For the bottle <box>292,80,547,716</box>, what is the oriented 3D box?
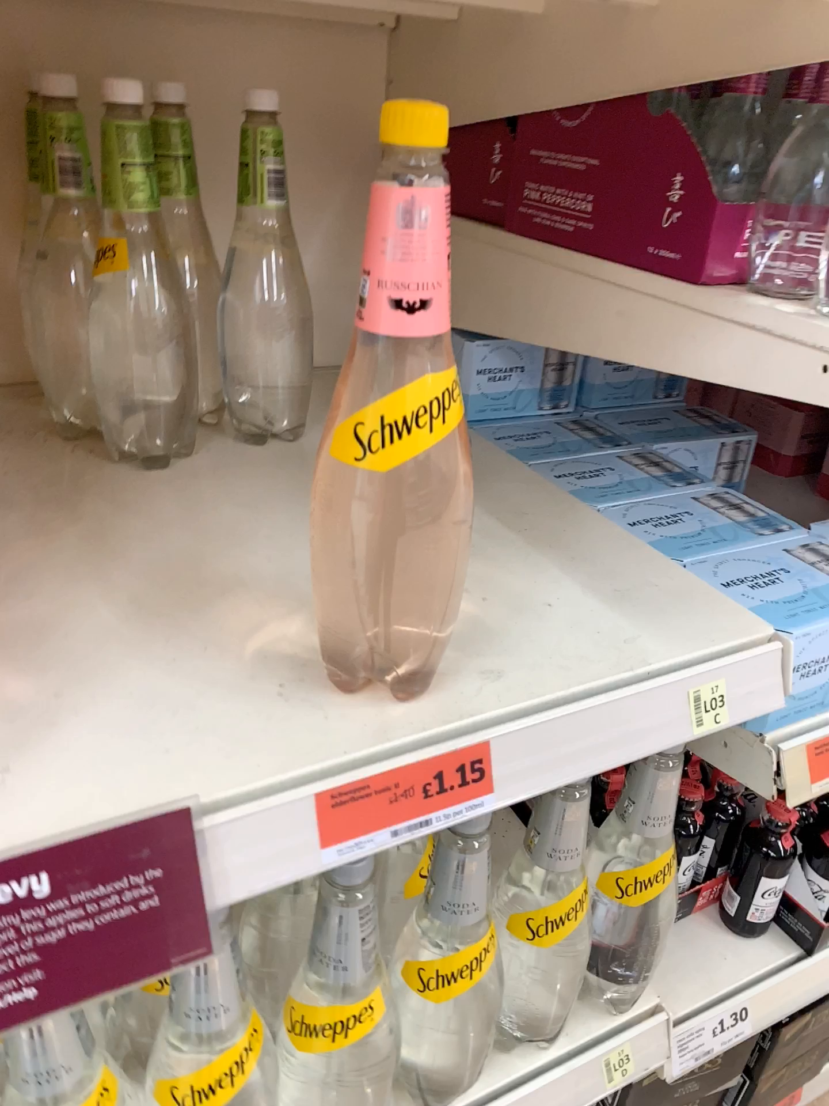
[{"bbox_3d":[-0.011,-0.070,0.437,0.085,0.299,0.090,4,28,-2],"label":"bottle"}]
